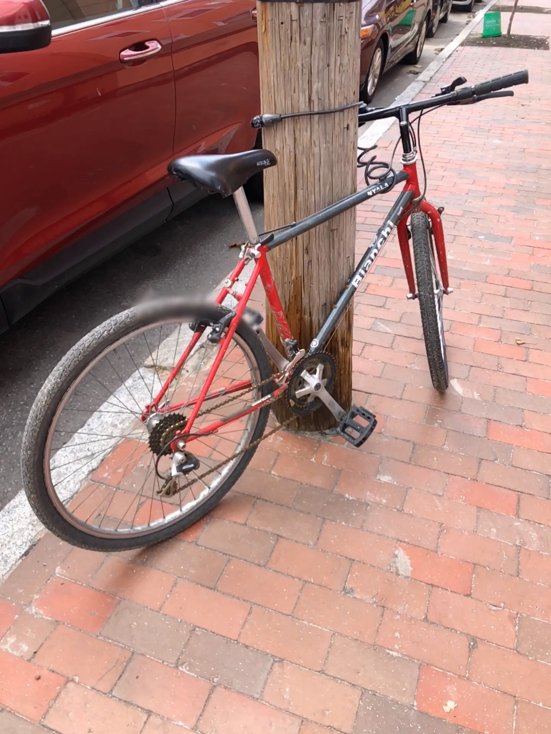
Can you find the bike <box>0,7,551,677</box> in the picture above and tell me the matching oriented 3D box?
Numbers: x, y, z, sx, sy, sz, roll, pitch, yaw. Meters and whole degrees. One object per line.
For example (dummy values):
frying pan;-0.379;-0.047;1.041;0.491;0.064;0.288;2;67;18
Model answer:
bike;0.030;-0.273;1.565;0.581;0.983;1.534;27;43;33
